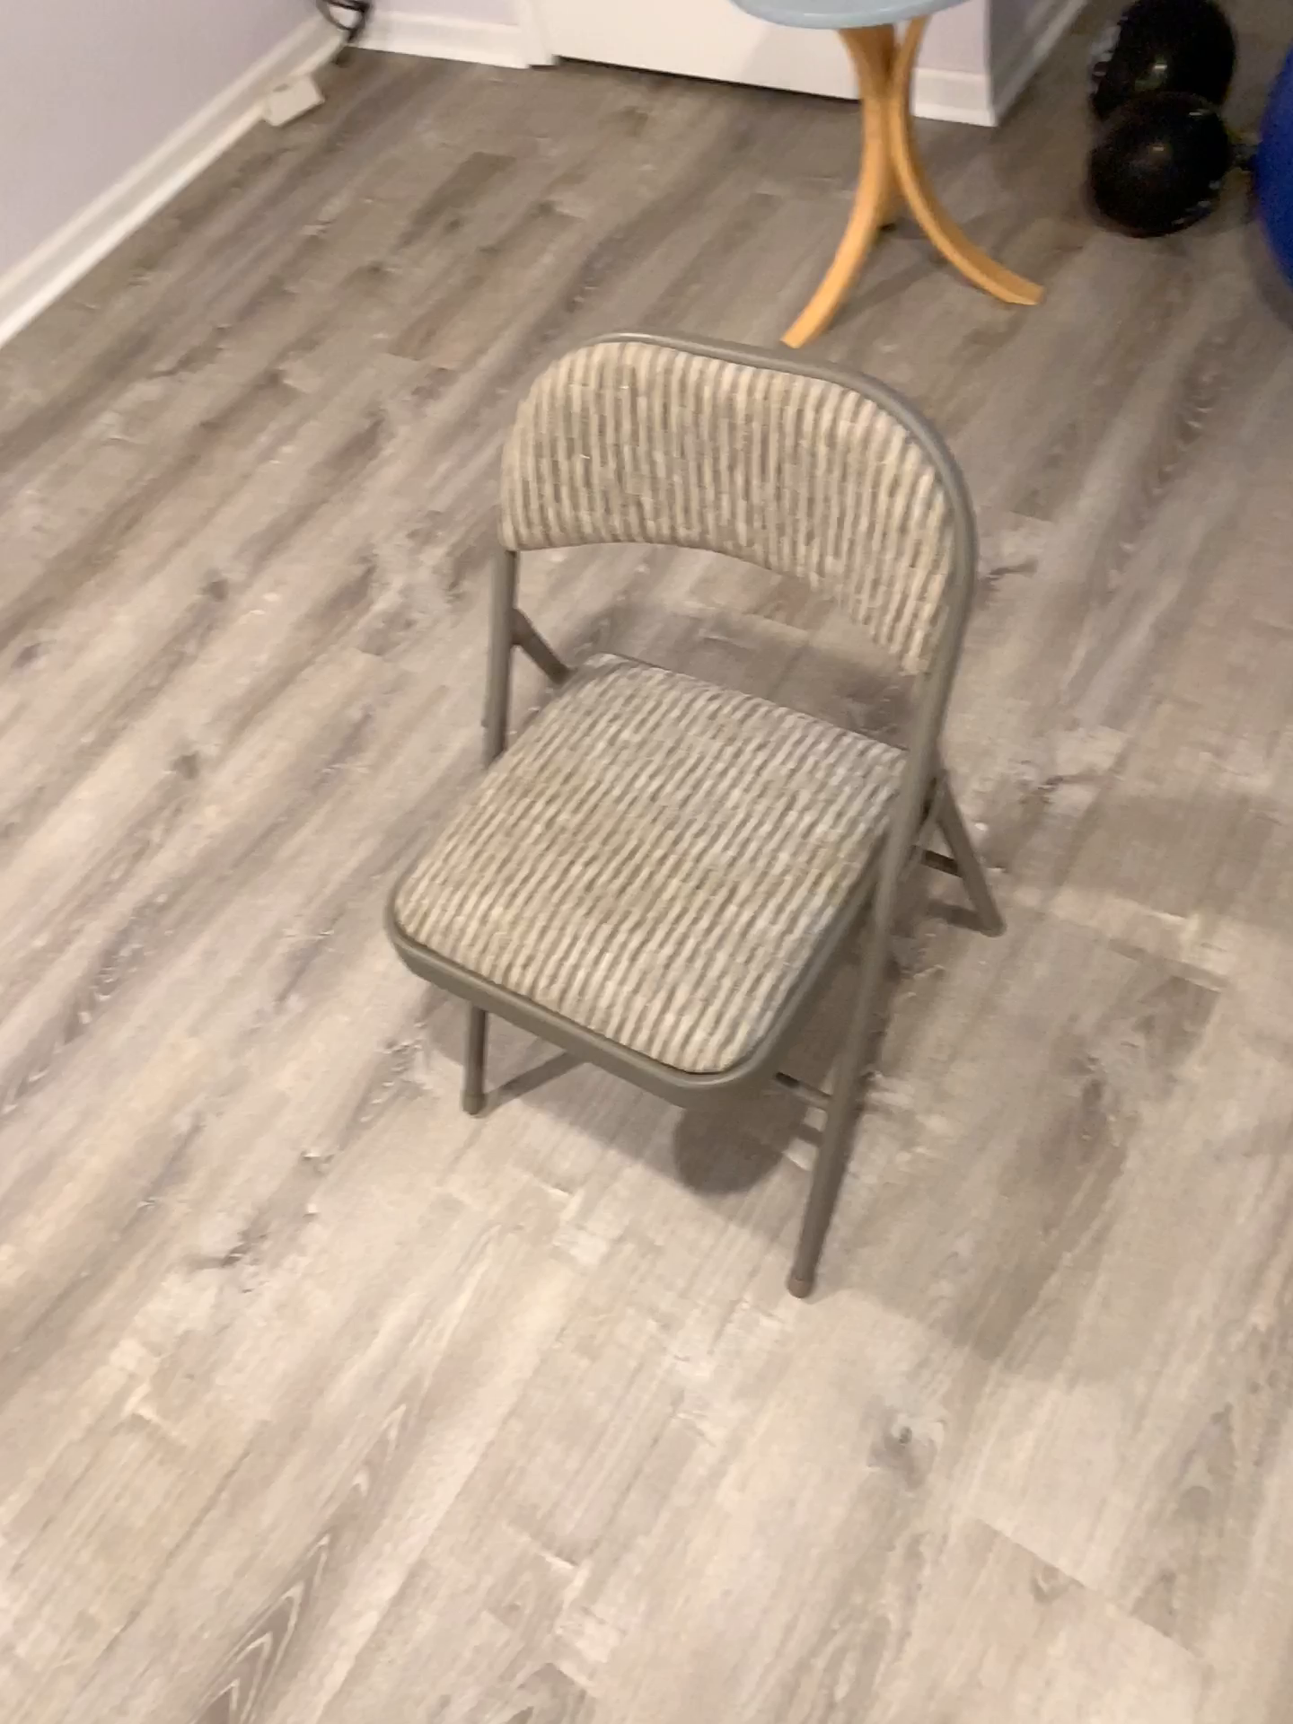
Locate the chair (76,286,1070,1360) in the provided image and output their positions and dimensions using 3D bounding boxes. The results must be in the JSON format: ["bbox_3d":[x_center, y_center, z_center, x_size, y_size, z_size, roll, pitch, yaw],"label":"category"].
[{"bbox_3d":[0.024,-0.011,1.235,0.502,0.710,0.586,22,65,27],"label":"chair"}]
